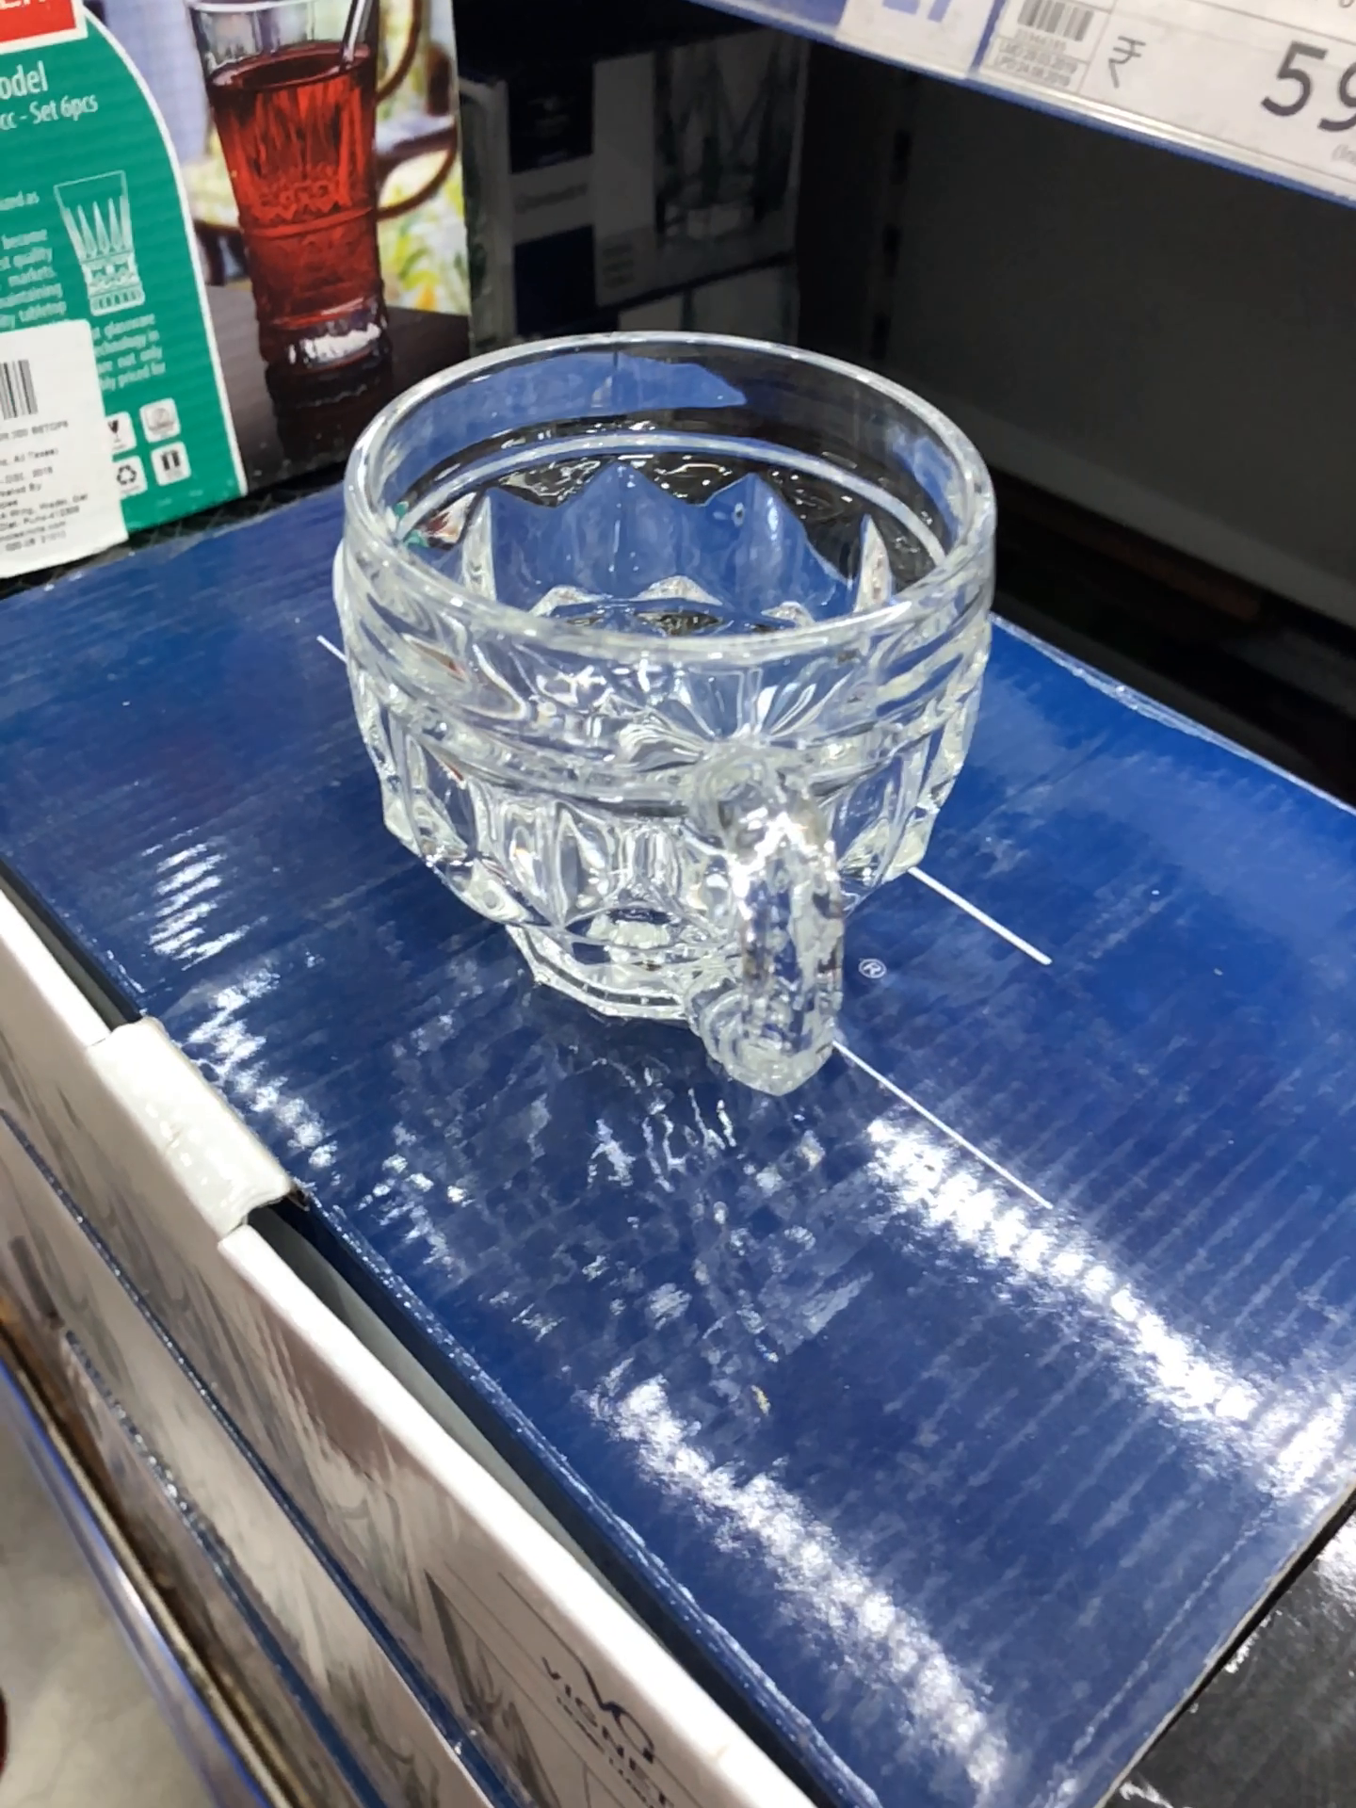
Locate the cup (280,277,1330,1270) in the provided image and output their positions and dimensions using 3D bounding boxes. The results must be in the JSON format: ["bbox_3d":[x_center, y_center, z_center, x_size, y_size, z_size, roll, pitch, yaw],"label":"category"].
[{"bbox_3d":[0.002,-0.025,0.186,0.090,0.060,0.111,-5,43,-9],"label":"cup"}]
